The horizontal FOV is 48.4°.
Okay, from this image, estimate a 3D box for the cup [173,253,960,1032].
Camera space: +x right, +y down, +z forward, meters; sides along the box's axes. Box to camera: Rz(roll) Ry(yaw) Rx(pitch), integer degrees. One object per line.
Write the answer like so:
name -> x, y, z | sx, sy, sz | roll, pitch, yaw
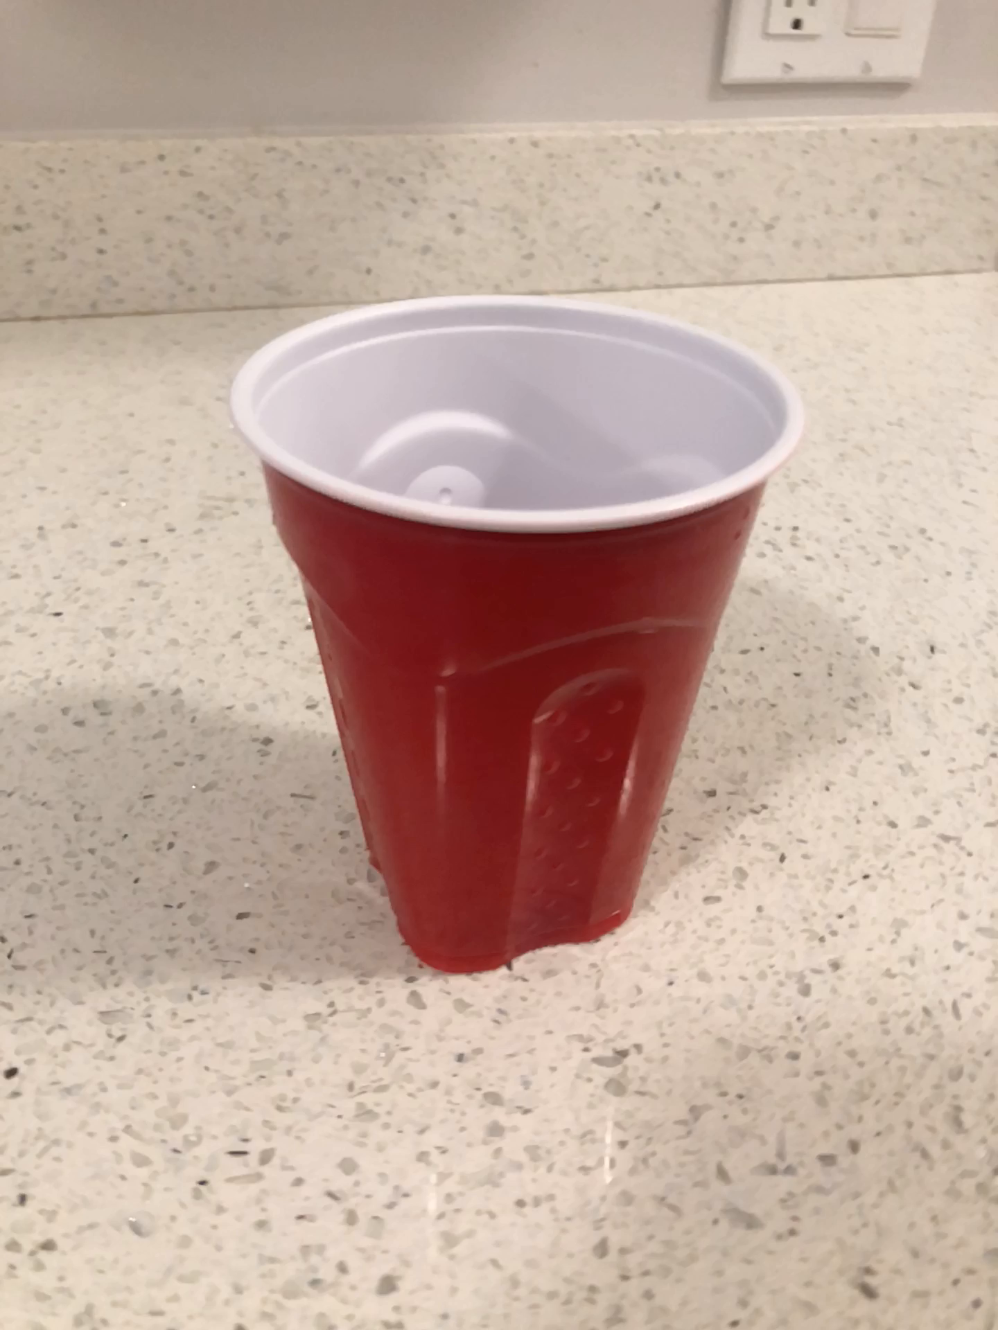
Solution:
cup -> 0.002, -0.013, 0.213 | 0.100, 0.092, 0.102 | 1, 36, -1
